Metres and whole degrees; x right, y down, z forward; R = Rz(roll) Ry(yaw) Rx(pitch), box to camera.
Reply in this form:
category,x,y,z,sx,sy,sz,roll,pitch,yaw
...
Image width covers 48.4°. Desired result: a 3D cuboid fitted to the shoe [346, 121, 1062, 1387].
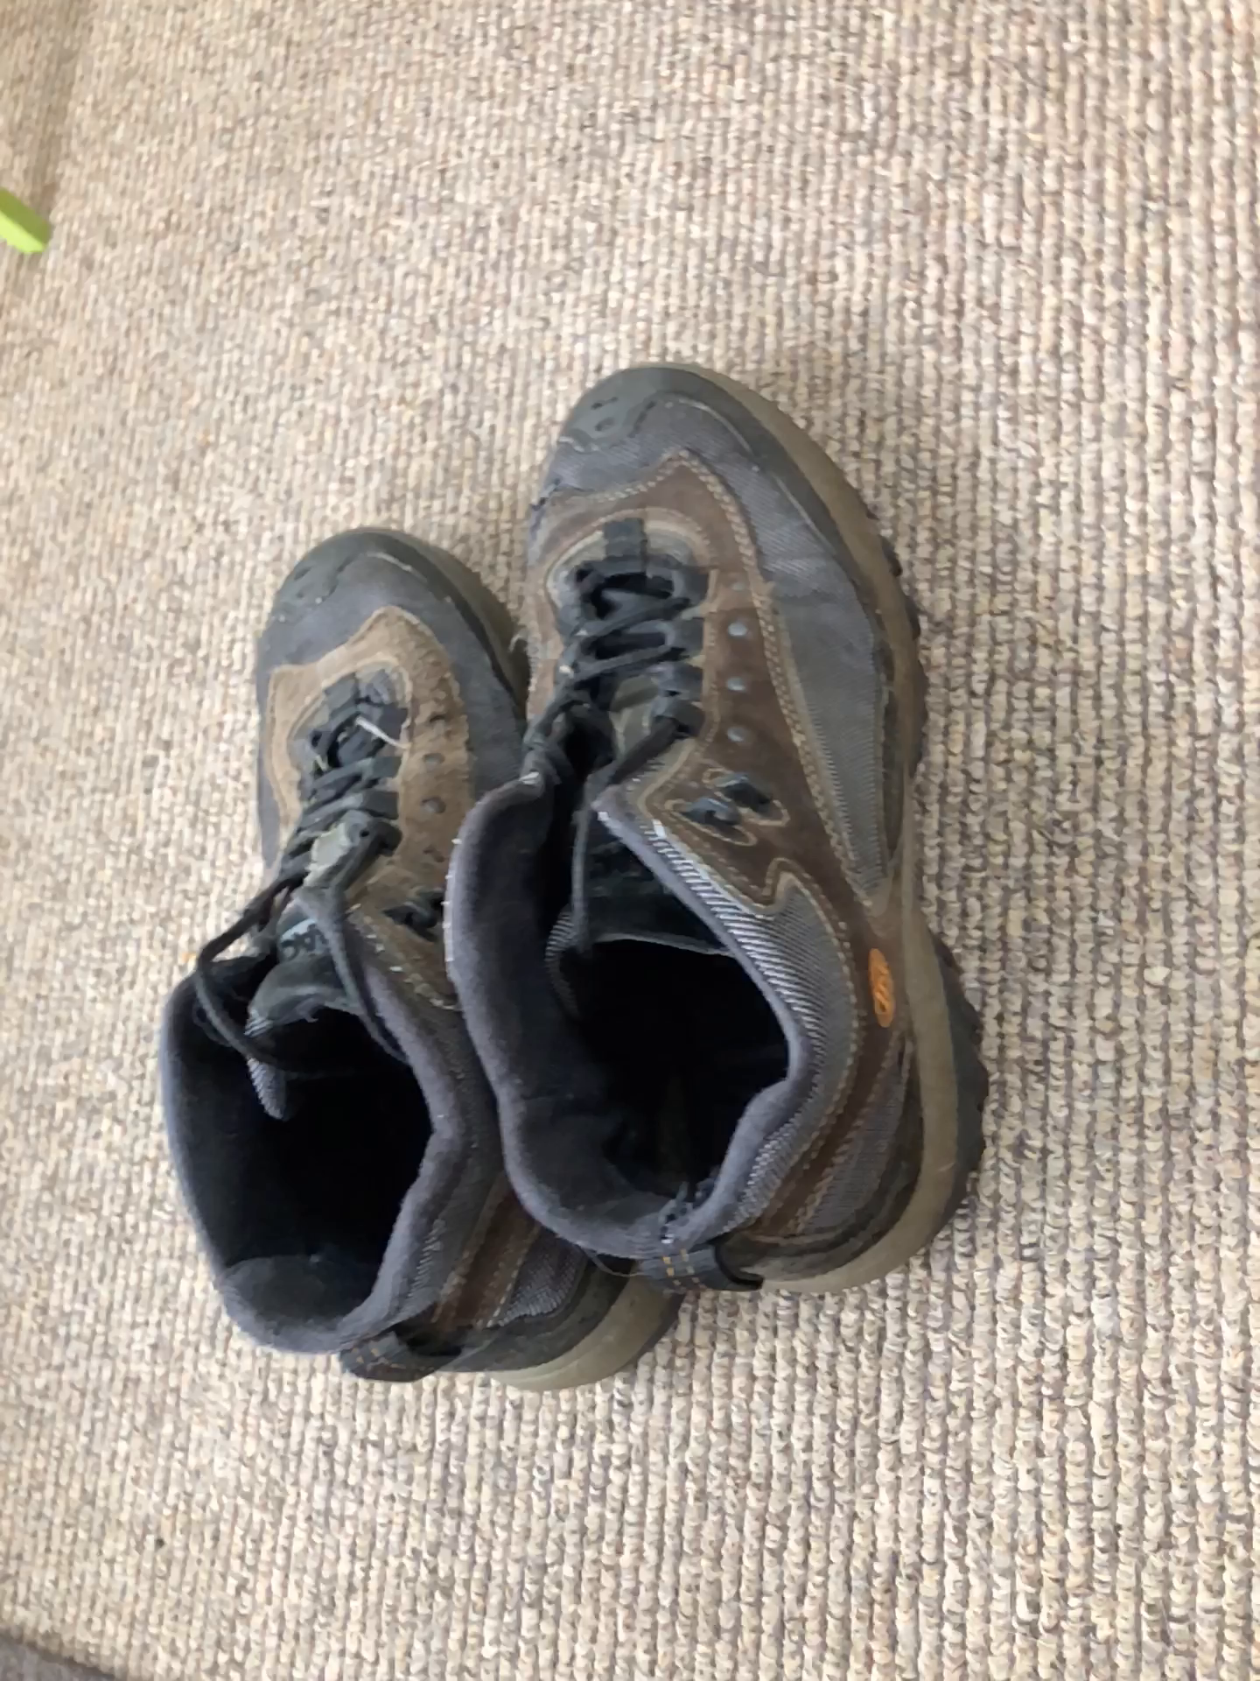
category,x,y,z,sx,sy,sz,roll,pitch,yaw
shoe,0.019,-0.013,0.379,0.118,0.137,0.280,-14,71,21

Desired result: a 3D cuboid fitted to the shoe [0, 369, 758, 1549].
category,x,y,z,sx,sy,sz,roll,pitch,yaw
shoe,-0.081,0.031,0.415,0.116,0.135,0.280,-25,67,17
